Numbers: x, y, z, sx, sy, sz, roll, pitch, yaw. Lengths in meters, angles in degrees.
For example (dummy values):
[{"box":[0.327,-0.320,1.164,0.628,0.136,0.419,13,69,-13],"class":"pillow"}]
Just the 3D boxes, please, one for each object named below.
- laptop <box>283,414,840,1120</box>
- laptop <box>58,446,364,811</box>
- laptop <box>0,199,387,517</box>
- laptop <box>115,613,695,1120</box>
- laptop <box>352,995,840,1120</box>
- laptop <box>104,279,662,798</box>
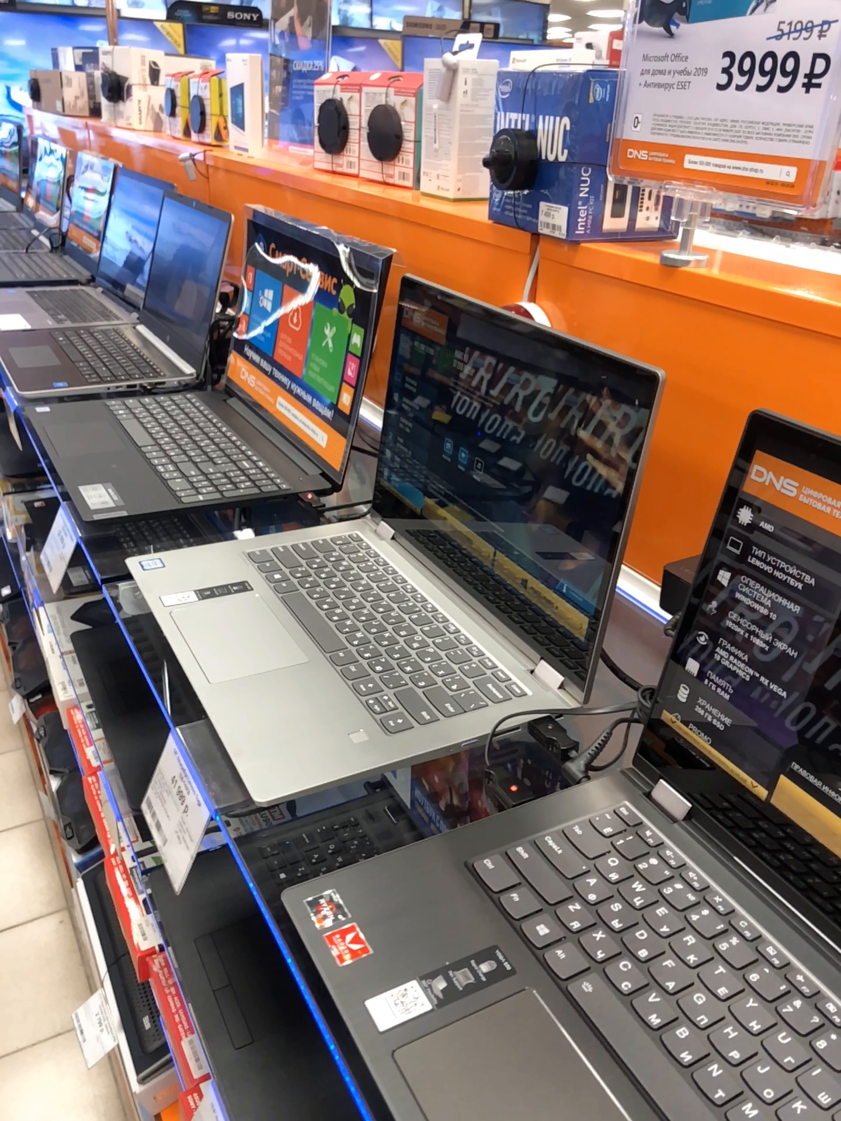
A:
[{"box":[0.115,0.100,0.328,0.248,0.209,0.291,-10,28,-25],"class":"laptop"},{"box":[-0.253,0.049,1.072,0.239,0.235,0.380,-10,28,-25],"class":"laptop"},{"box":[-0.237,-0.227,0.936,0.279,0.212,0.306,-13,32,-29],"class":"laptop"},{"box":[-0.044,0.235,0.700,0.263,0.207,0.369,-12,28,-26],"class":"laptop"},{"box":[0.142,0.402,0.371,0.237,0.213,0.309,-8,26,-24],"class":"laptop"},{"box":[-0.051,-0.051,0.625,0.238,0.212,0.316,-10,29,-25],"class":"laptop"}]
